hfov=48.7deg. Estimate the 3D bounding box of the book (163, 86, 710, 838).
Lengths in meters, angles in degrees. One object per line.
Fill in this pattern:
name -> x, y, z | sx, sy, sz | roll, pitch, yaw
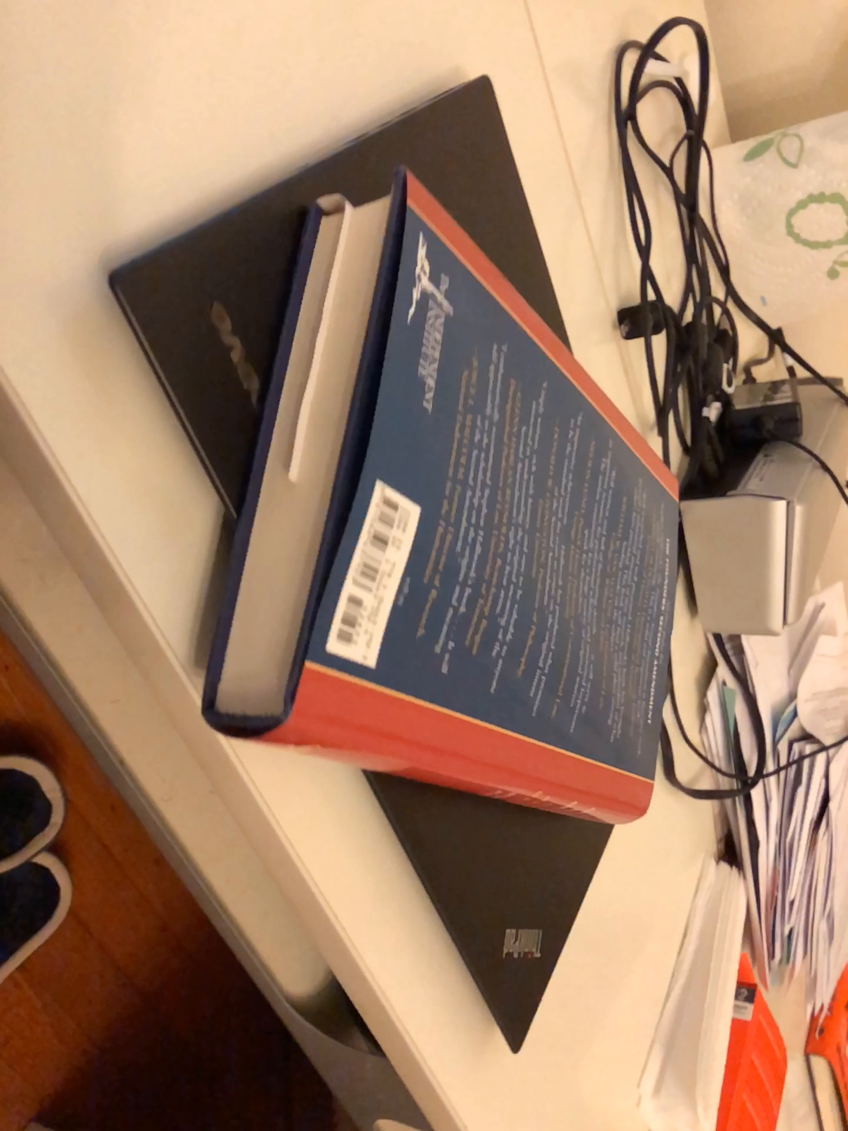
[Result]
book -> 0.035, -0.006, 0.322 | 0.241, 0.040, 0.170 | 28, 64, -50
